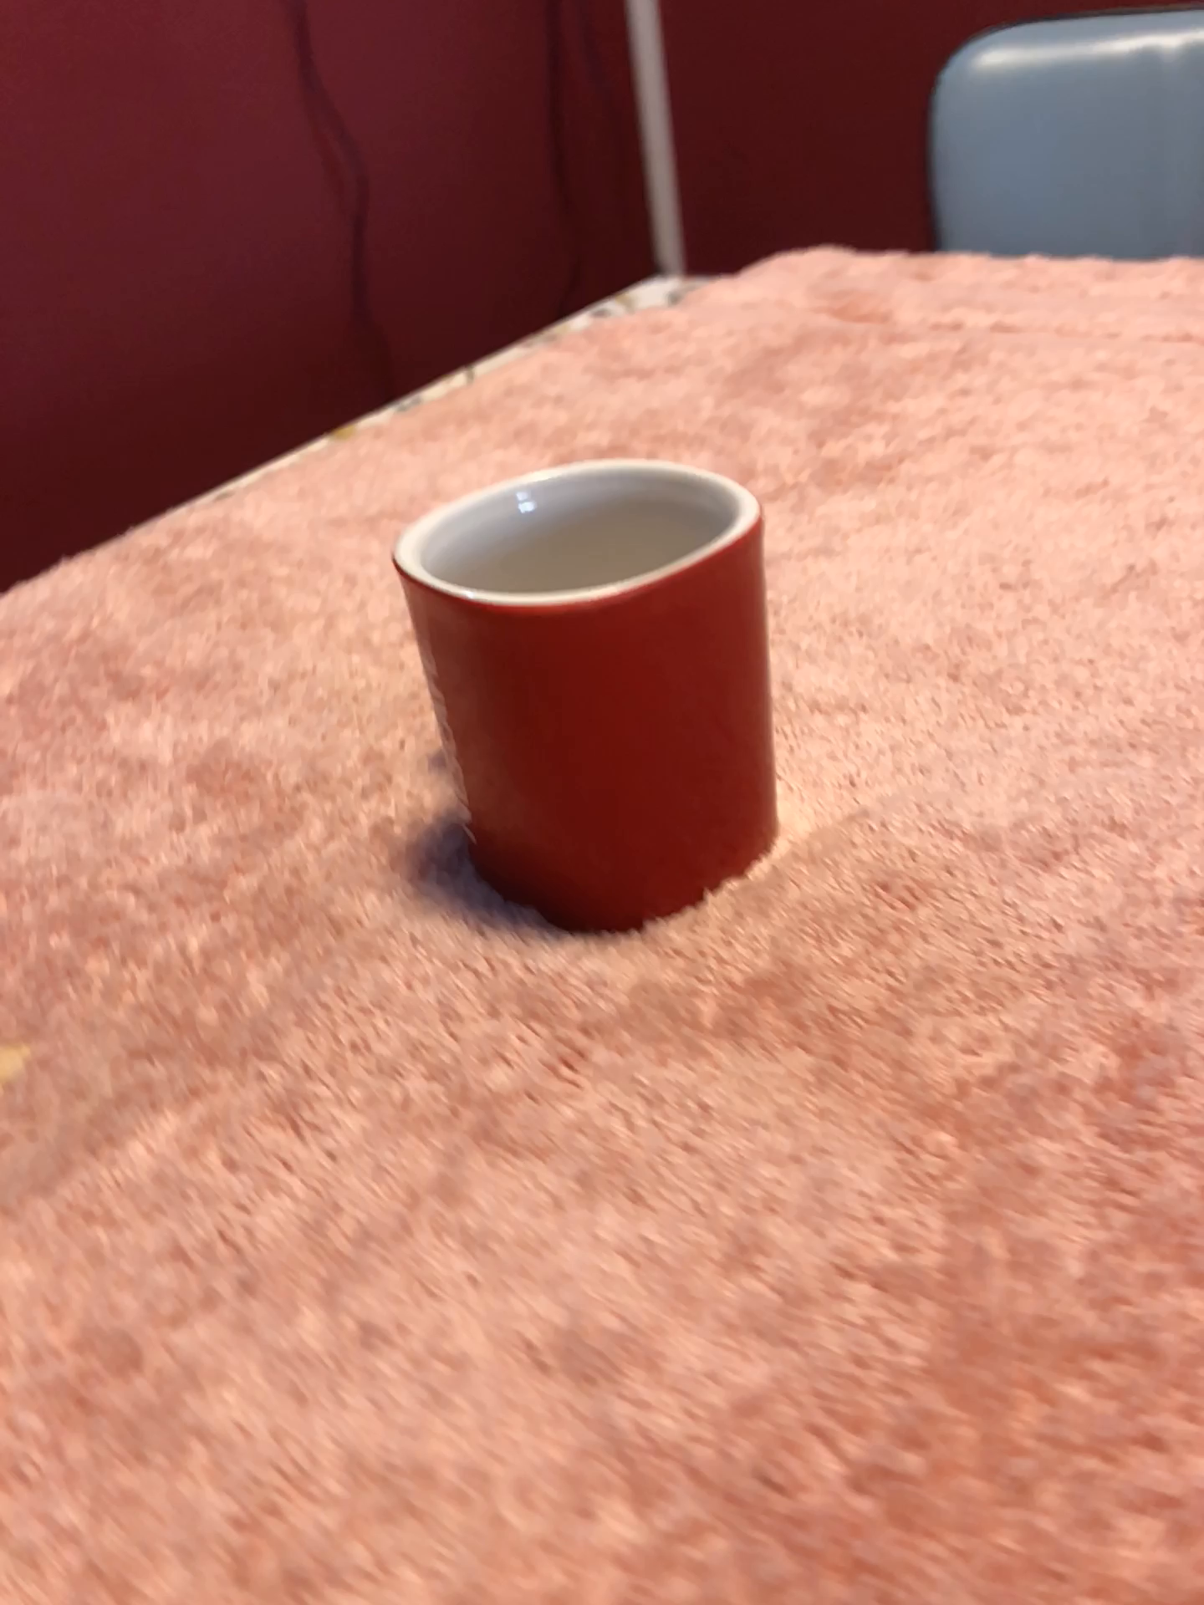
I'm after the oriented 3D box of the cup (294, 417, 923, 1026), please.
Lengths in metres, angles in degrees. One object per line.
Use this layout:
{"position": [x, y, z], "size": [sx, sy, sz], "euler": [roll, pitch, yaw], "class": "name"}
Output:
{"position": [0.001, -0.024, 0.264], "size": [0.070, 0.070, 0.100], "euler": [-26, 36, -26], "class": "cup"}
